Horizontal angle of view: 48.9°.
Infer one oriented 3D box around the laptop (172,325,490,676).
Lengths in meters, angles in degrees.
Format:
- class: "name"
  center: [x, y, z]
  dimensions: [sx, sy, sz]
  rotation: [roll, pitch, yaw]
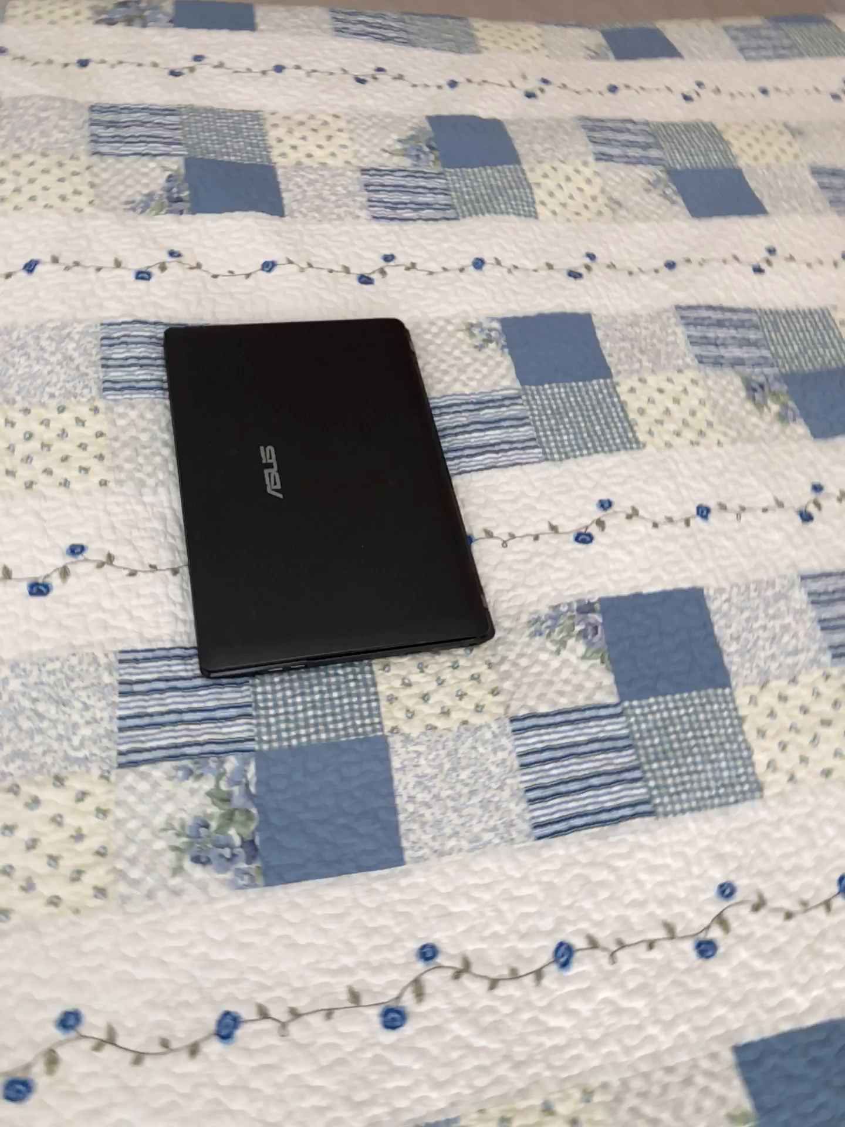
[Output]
- class: "laptop"
  center: [-0.095, -0.080, 0.853]
  dimensions: [0.235, 0.006, 0.369]
  rotation: [-6, 59, -14]
